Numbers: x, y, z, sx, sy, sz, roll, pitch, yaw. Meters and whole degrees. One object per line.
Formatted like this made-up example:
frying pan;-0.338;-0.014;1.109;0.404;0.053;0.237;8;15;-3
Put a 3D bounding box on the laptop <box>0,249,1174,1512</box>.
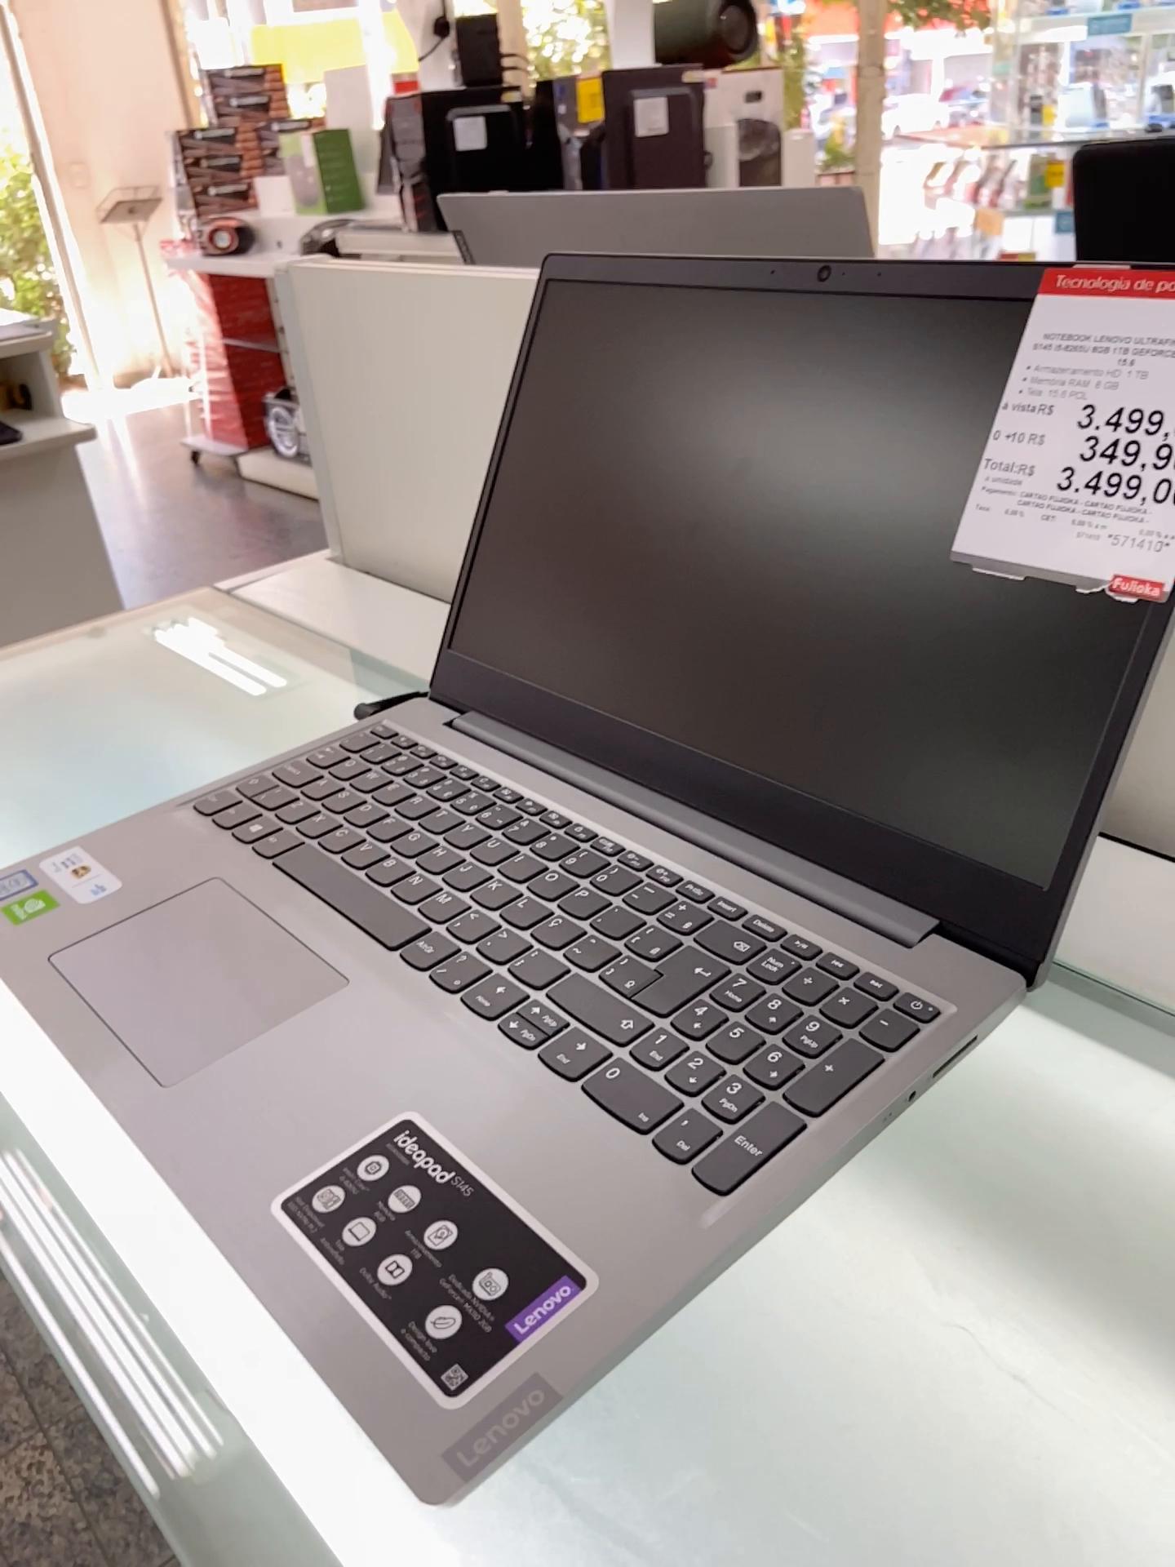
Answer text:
laptop;-0.029;-0.057;0.442;0.367;0.201;0.360;-28;36;-34
